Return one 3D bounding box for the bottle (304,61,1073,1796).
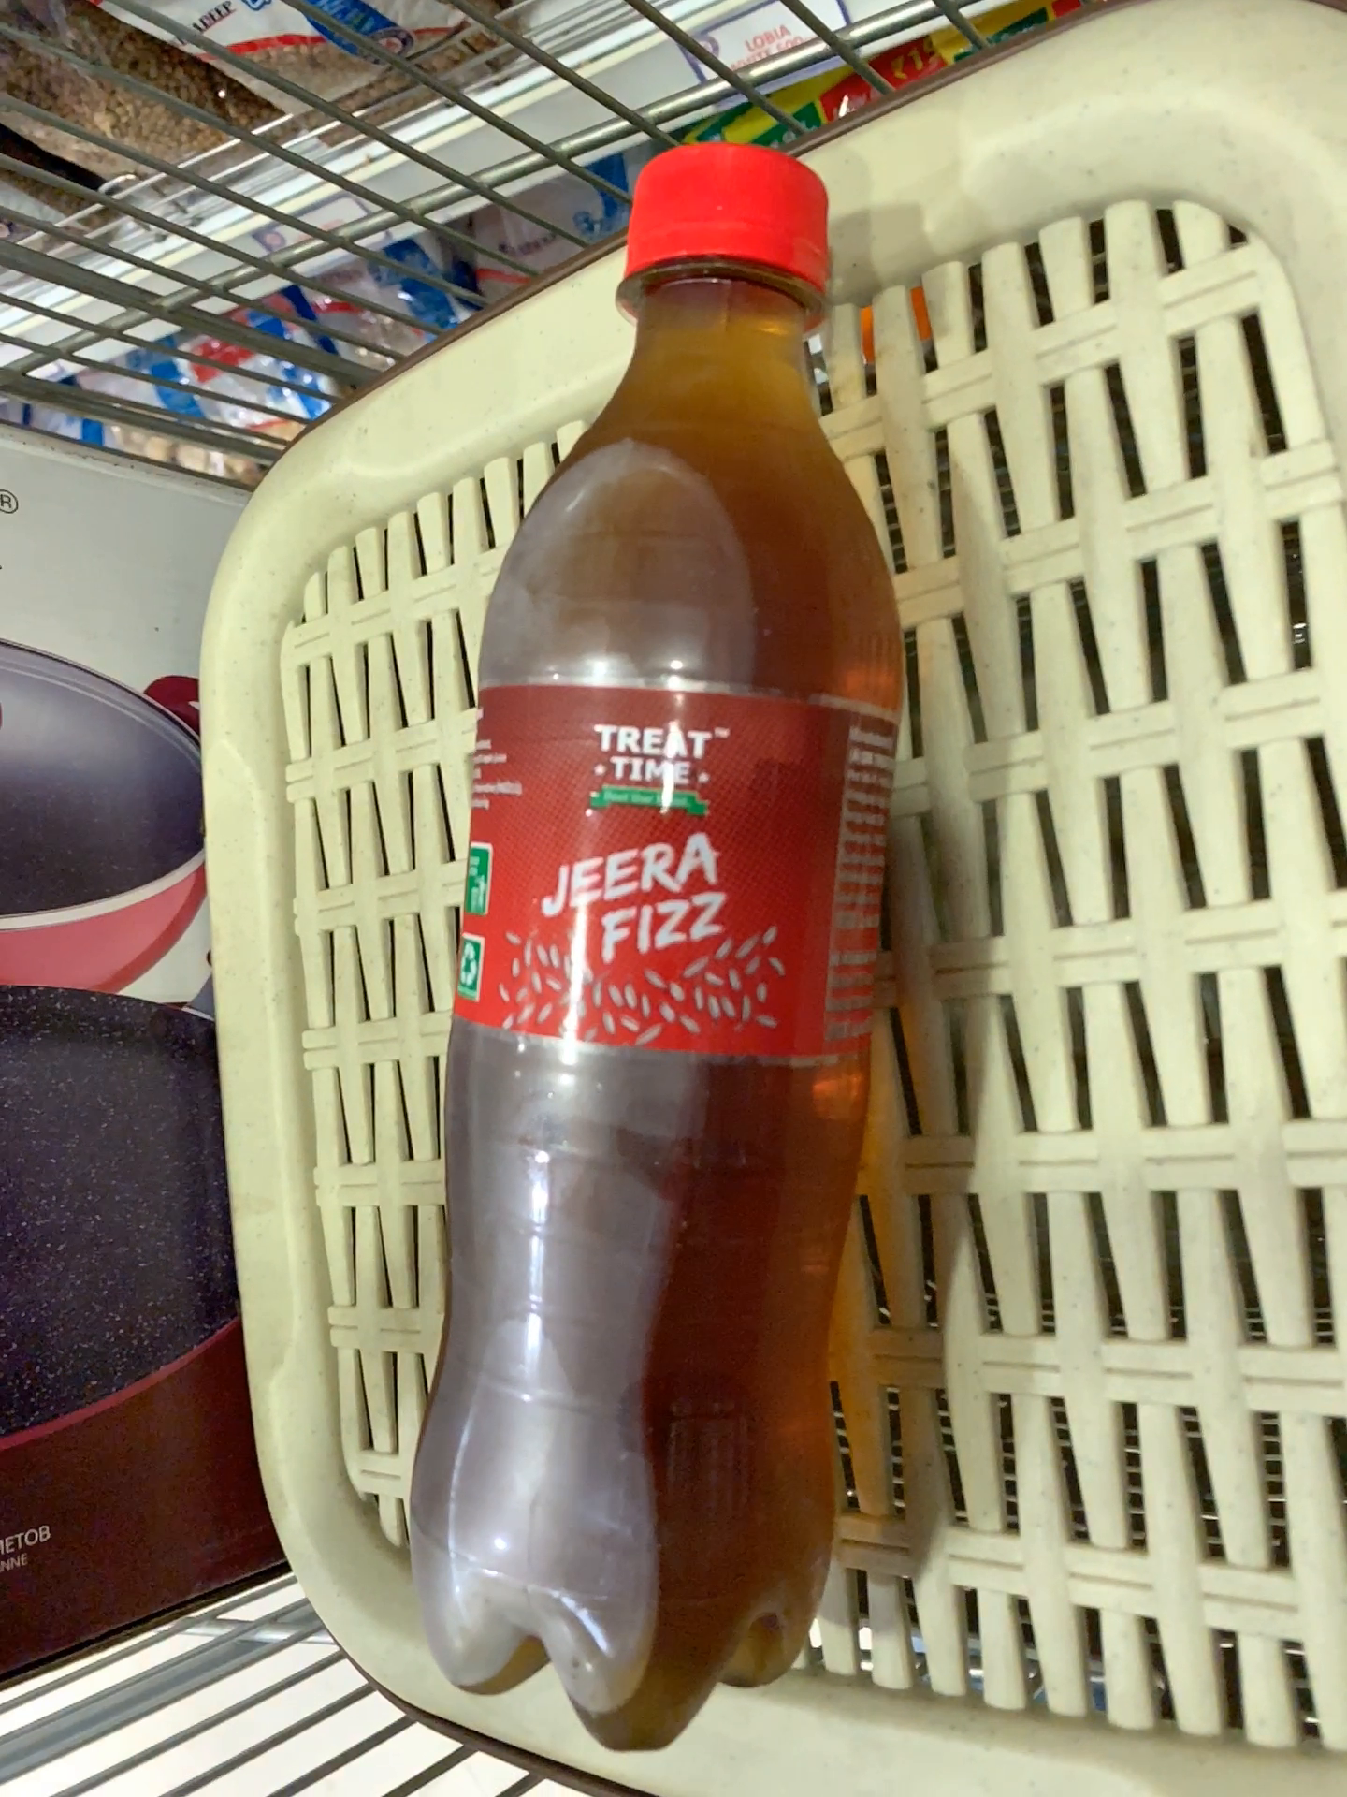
[{"bbox_3d":[0.006,0.005,0.219,0.080,0.070,0.230,6,91,11],"label":"bottle"}]
